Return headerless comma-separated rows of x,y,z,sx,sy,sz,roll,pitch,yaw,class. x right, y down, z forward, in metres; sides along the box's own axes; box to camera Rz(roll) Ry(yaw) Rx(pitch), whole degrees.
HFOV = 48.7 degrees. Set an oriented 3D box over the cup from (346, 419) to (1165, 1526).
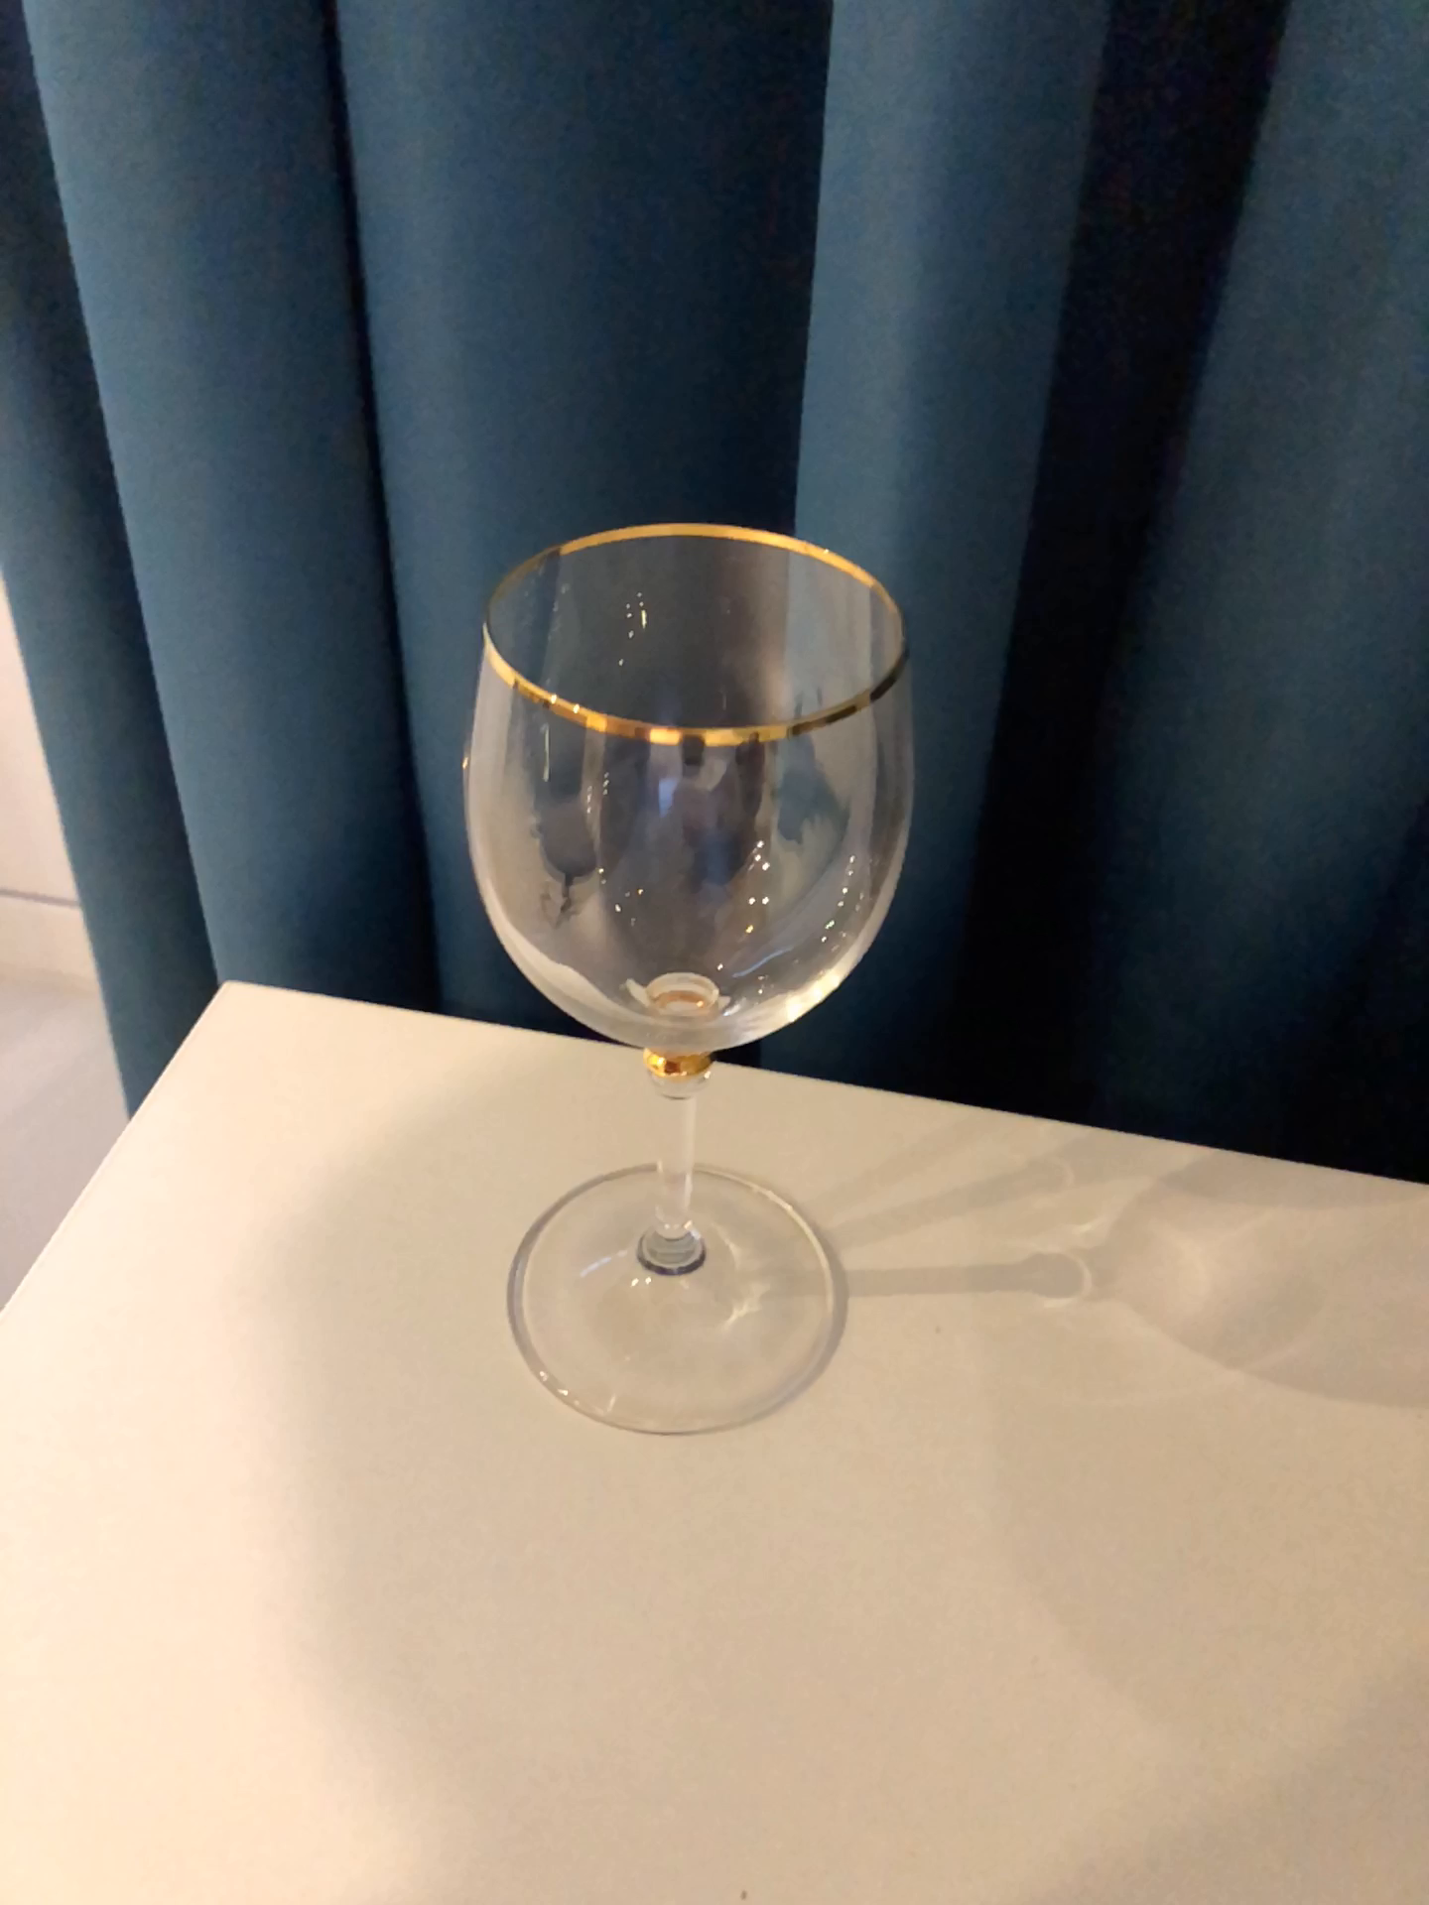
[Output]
0.004,0.003,0.326,0.100,0.179,0.100,2,37,-1,cup
